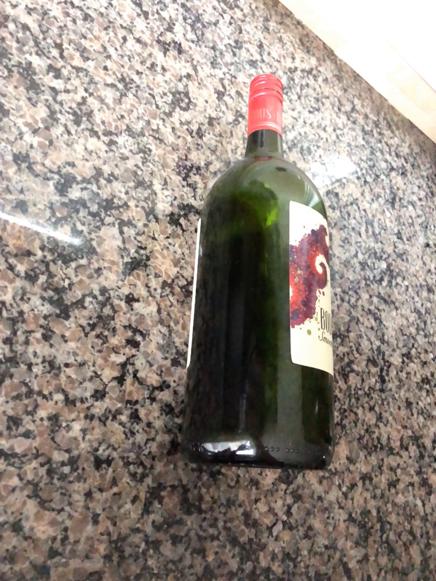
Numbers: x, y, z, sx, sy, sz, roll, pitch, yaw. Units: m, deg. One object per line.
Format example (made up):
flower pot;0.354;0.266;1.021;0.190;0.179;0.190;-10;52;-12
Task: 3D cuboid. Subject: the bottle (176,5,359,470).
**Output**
bottle;0.034;-0.044;0.375;0.100;0.110;0.340;3;69;-1
